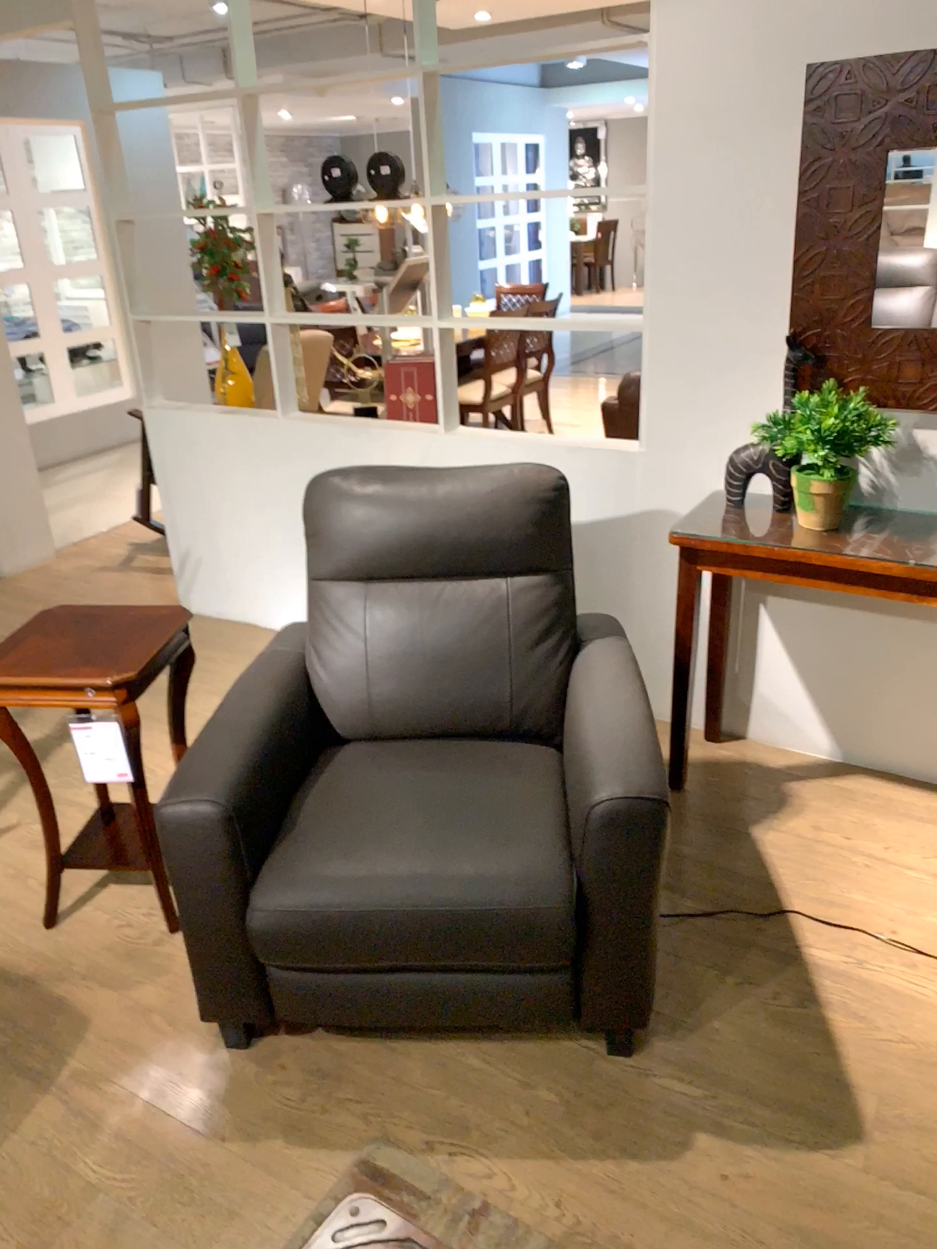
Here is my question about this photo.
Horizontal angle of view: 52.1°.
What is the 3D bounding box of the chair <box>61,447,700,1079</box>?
[{"bbox_3d":[-0.089,0.215,2.001,0.940,0.926,0.924,-1,24,5],"label":"chair"}]
